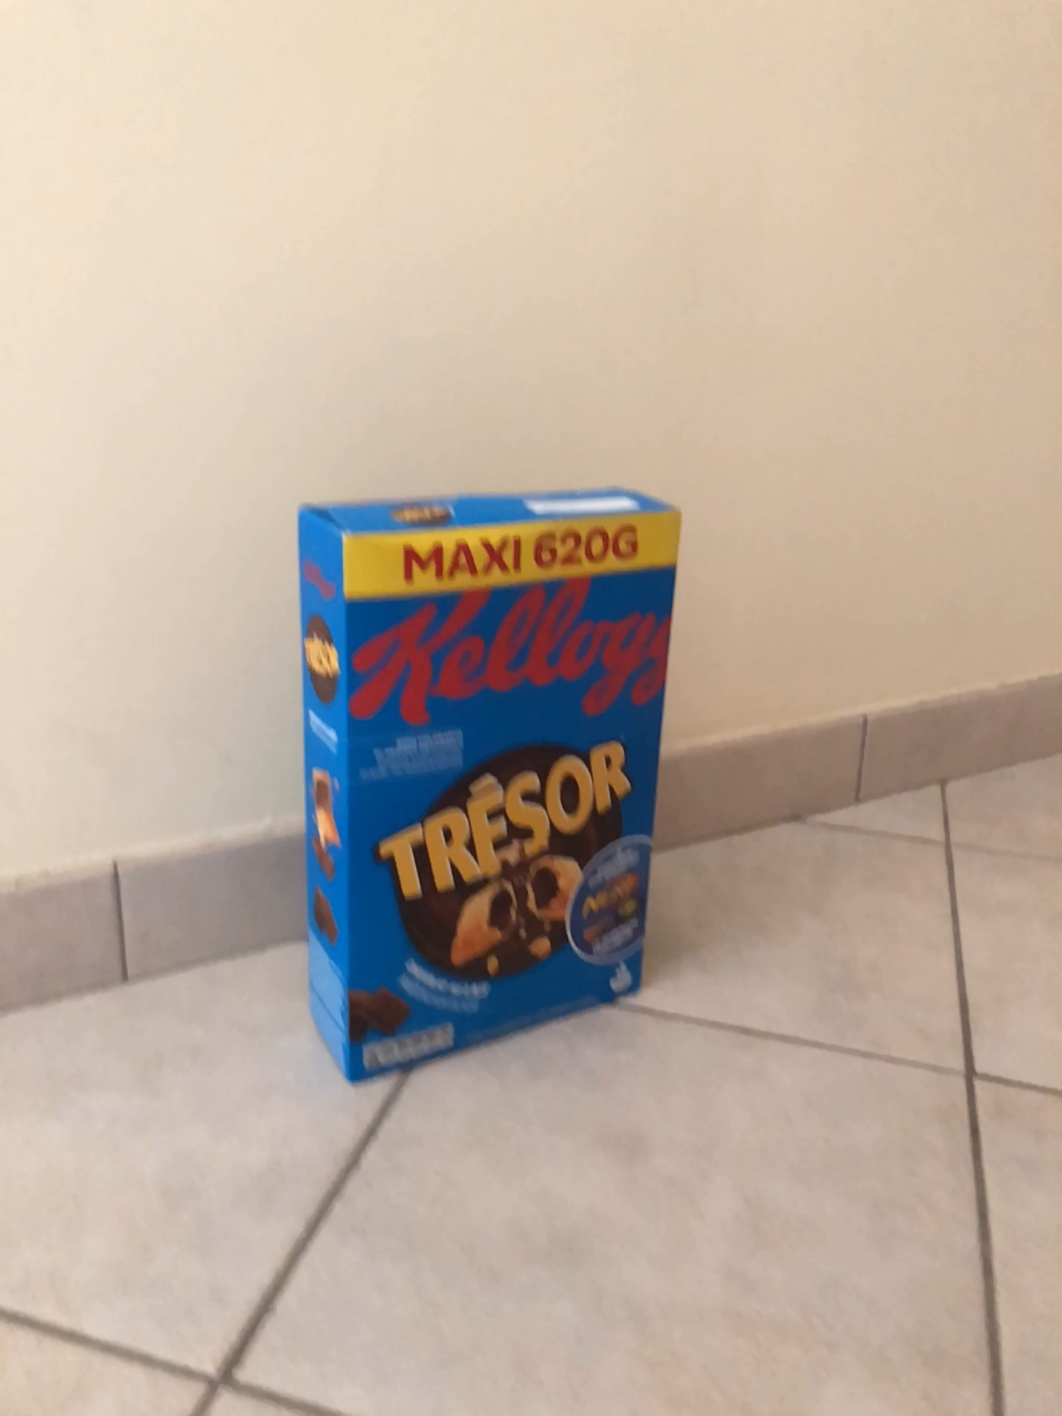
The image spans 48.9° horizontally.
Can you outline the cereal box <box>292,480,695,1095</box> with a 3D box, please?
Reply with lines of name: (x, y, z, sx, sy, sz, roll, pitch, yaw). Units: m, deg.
cereal box: (-0.022, 0.037, 0.634, 0.191, 0.298, 0.070, -9, 24, -29)
